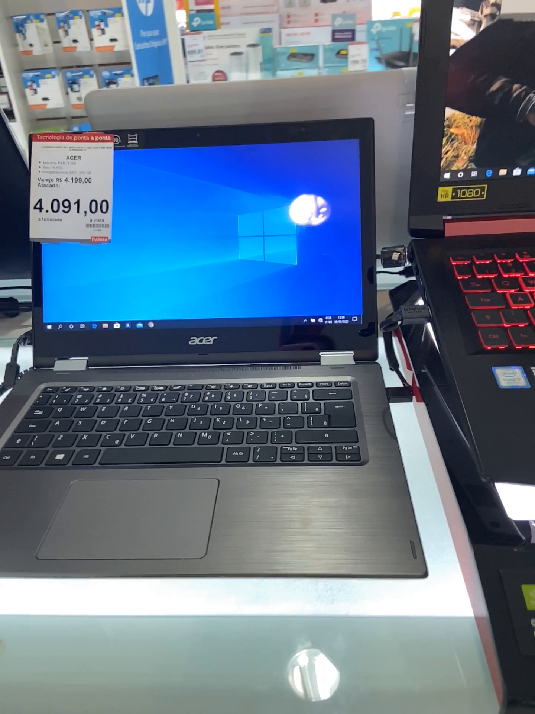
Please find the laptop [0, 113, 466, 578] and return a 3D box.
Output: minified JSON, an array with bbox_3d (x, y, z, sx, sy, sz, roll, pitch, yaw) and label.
[{"bbox_3d":[-0.072,-0.048,0.423,0.328,0.187,0.358,-2,32,4],"label":"laptop"}]
